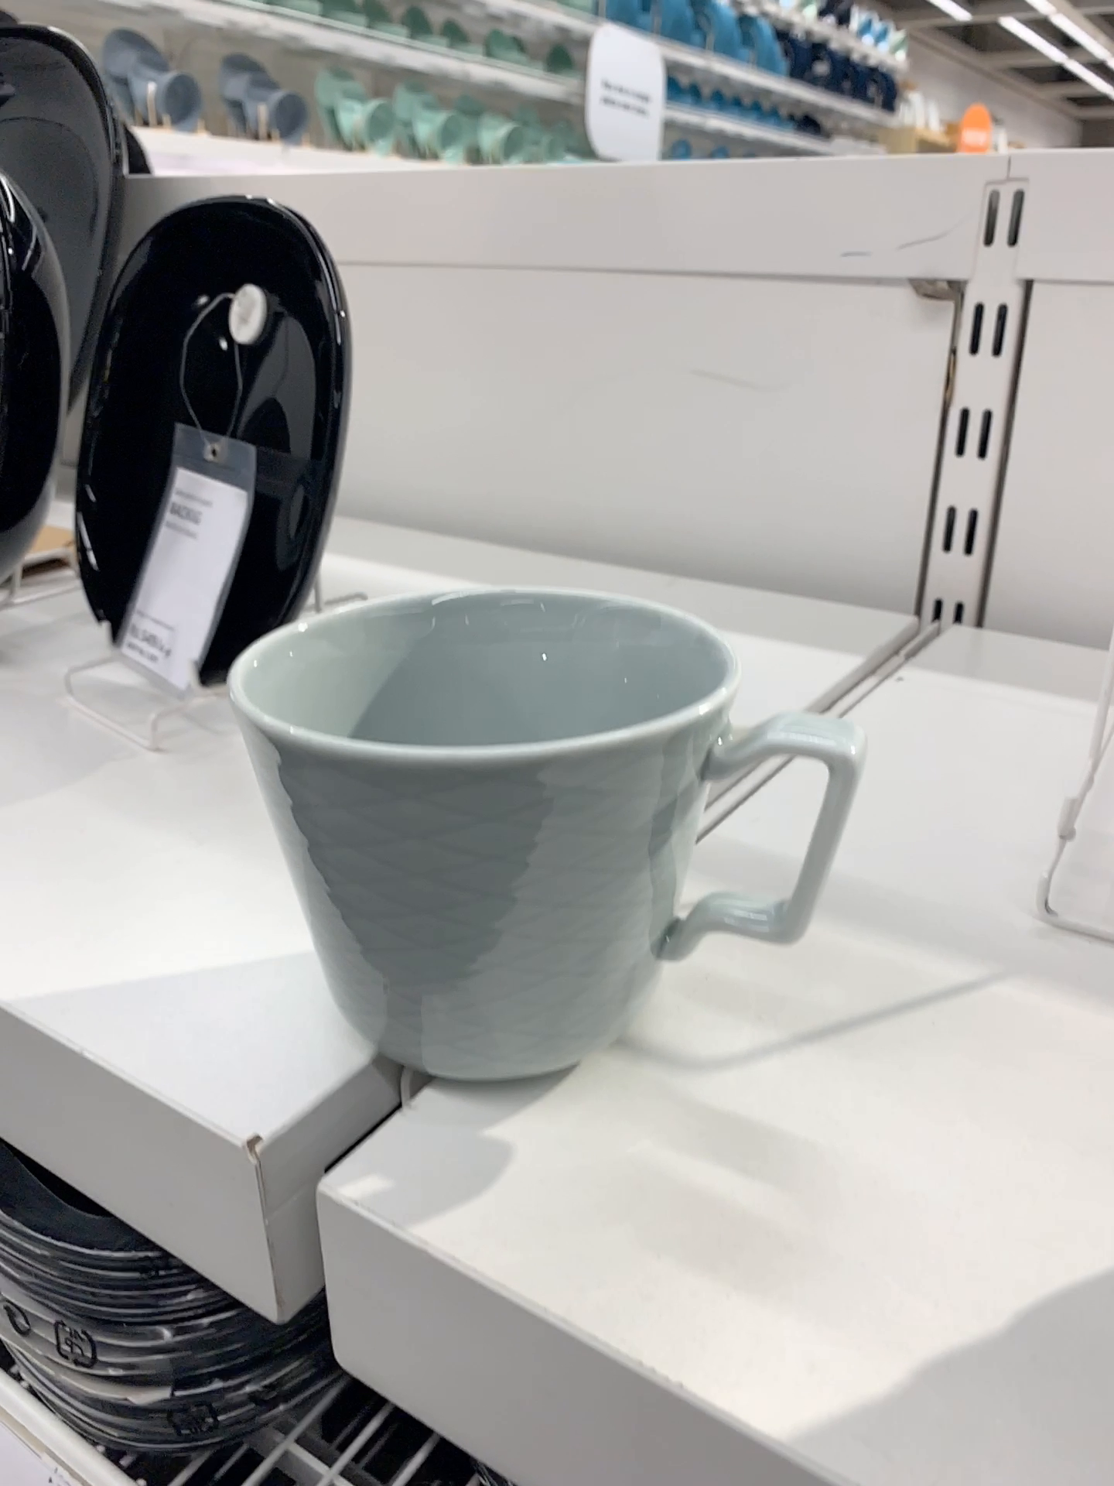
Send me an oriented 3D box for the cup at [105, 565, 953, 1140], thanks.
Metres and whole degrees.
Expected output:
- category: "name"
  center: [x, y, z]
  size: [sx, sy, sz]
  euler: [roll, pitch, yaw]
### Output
- category: "cup"
  center: [-0.002, 0.013, 0.236]
  size: [0.130, 0.070, 0.100]
  euler: [3, 23, 5]
